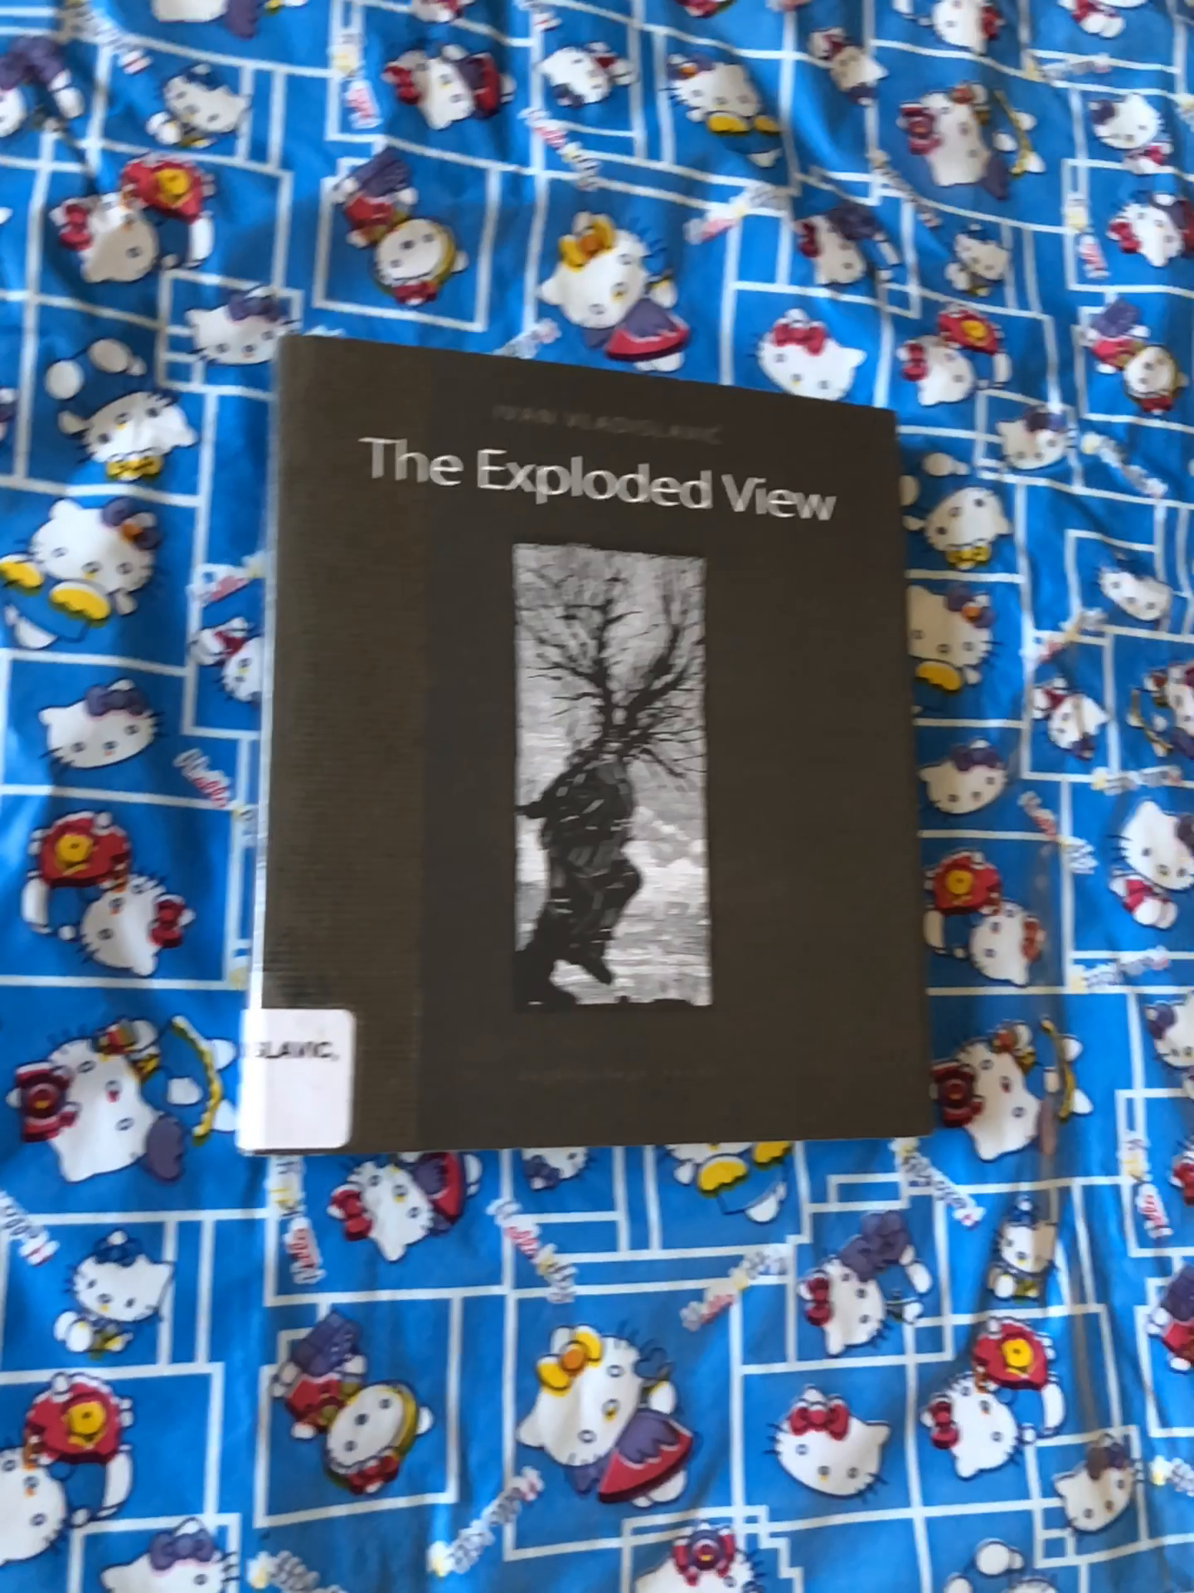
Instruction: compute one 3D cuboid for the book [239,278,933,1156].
[{"bbox_3d":[0.001,-0.015,0.281,0.140,0.020,0.170,2,82,-15],"label":"book"}]
